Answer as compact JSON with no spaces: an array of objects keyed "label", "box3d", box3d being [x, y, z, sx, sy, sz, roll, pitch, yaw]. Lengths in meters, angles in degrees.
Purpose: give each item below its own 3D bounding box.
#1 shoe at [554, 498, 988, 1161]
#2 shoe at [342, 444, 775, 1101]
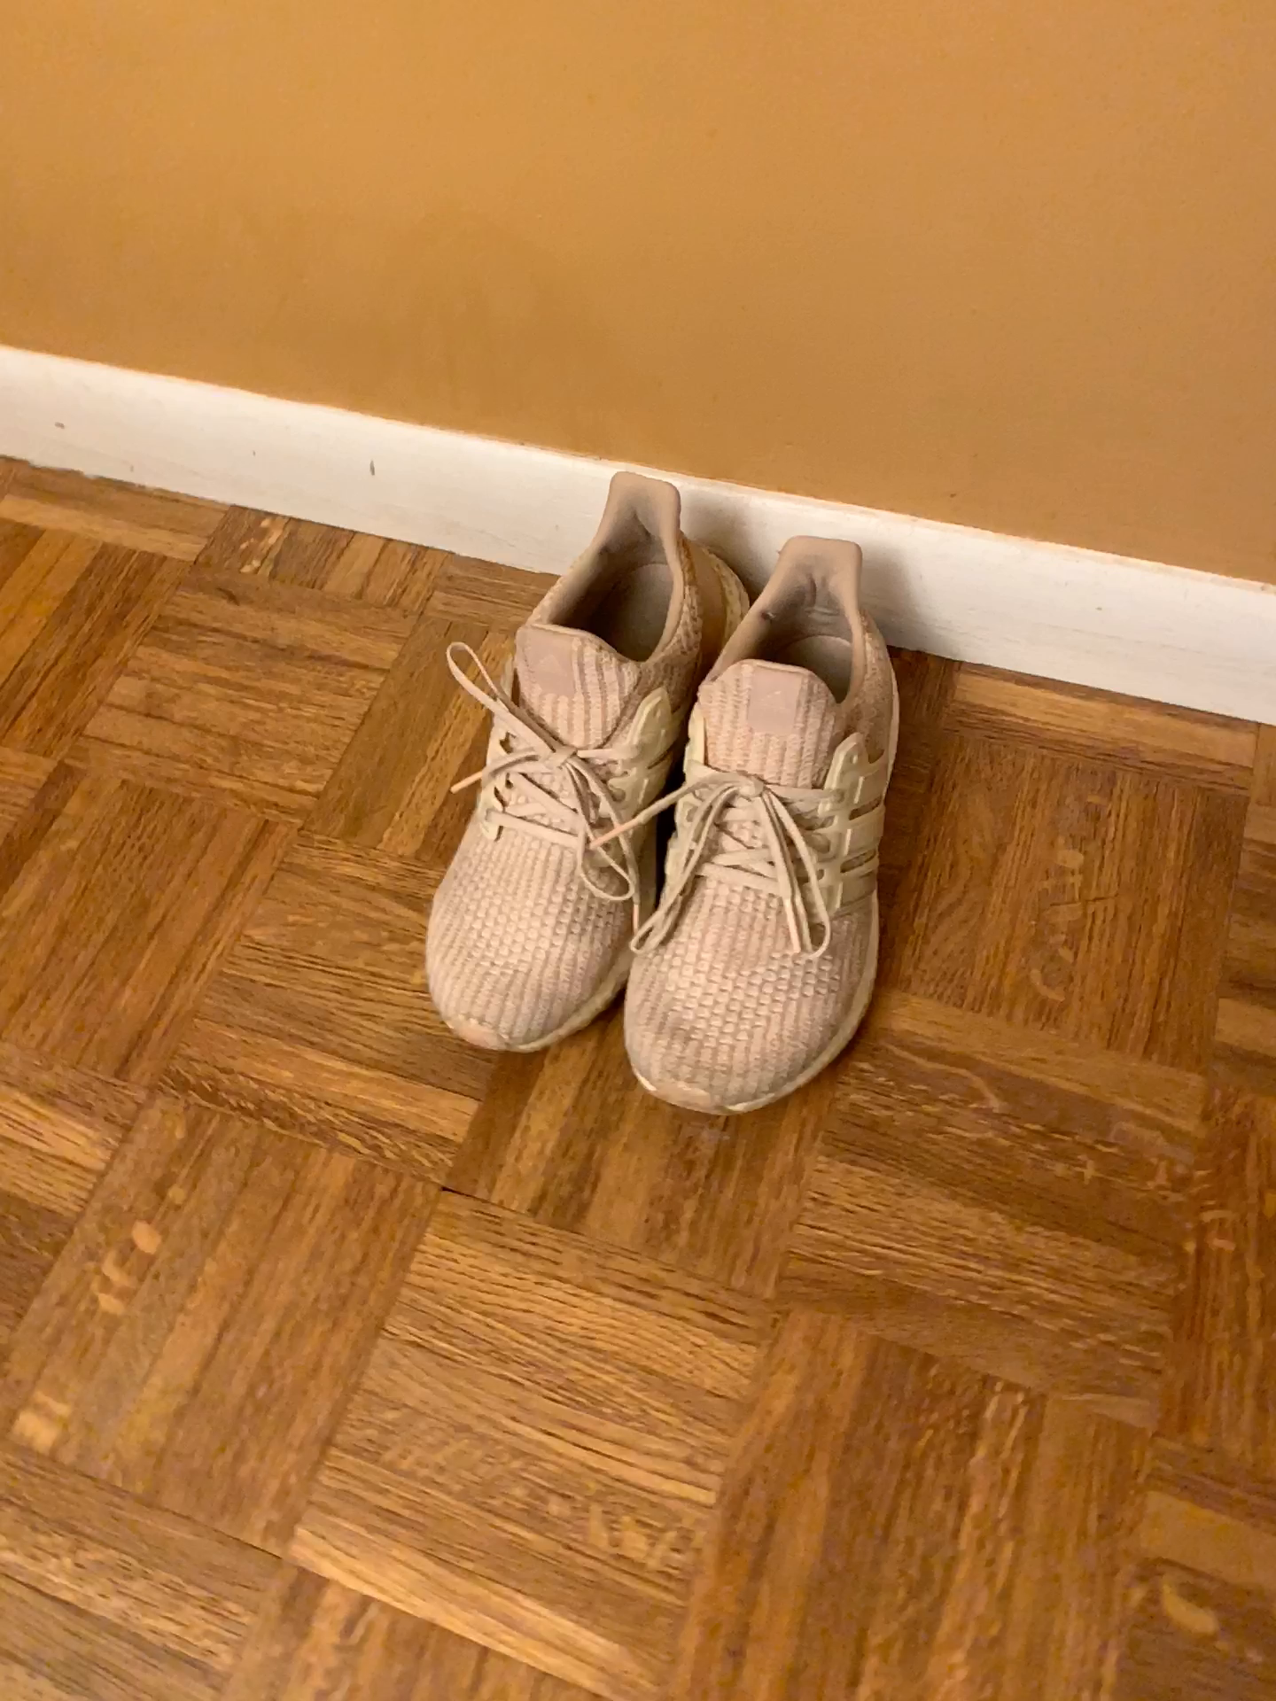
[{"label":"shoe","box3d":[0.068,-0.008,0.597,0.110,0.120,0.260,15,74,15]},{"label":"shoe","box3d":[-0.024,-0.038,0.642,0.100,0.130,0.280,15,71,14]}]
